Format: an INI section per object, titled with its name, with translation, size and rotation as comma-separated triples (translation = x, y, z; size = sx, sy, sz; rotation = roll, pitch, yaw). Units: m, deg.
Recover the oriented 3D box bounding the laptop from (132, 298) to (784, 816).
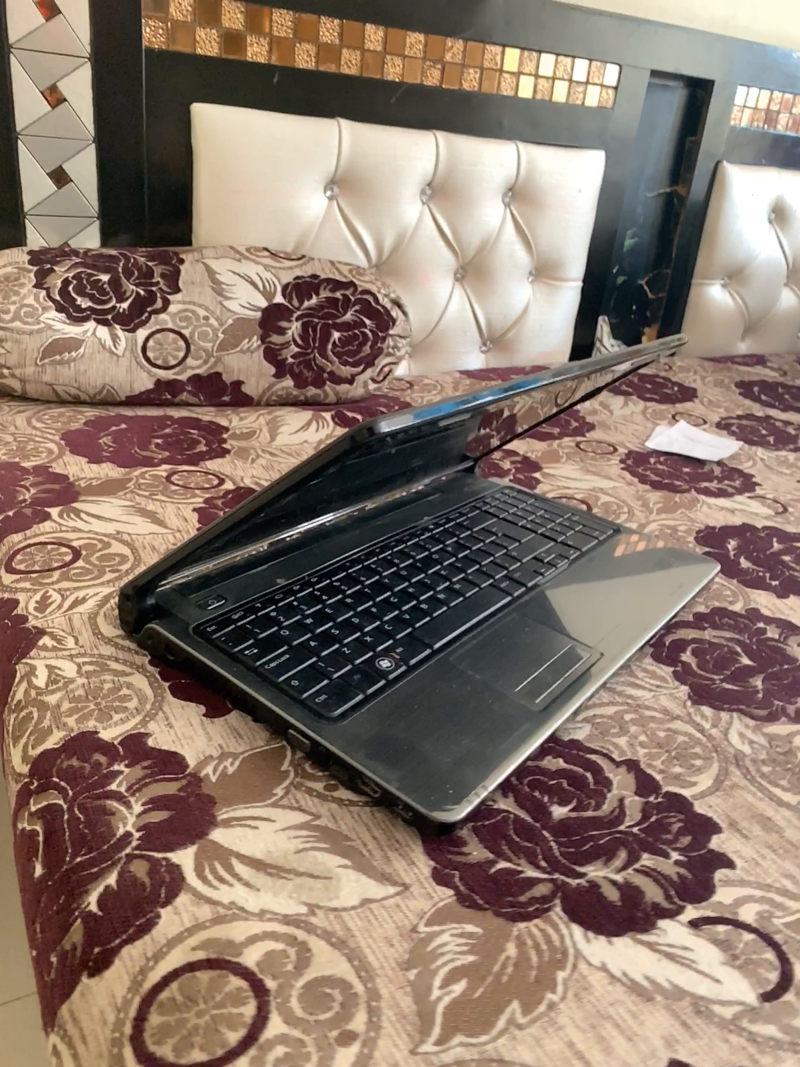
[laptop]
translation = 0.057, -0.034, 0.524
size = 0.221, 0.154, 0.365
rotation = 24, 31, 31
